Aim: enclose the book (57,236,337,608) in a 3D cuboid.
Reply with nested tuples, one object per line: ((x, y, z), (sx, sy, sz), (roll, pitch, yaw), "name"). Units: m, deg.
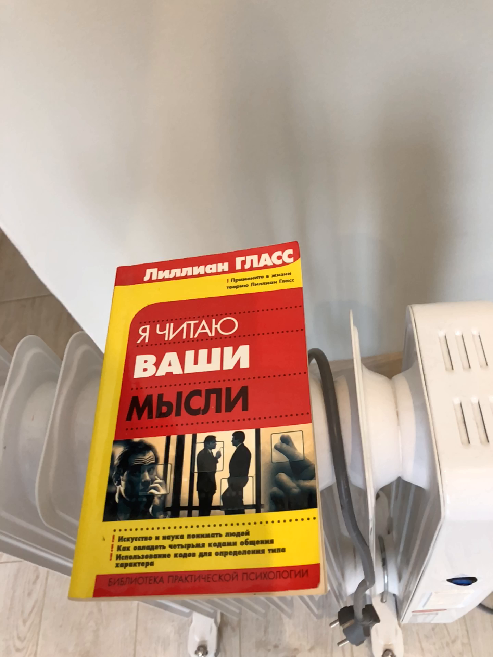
((-0.024, 0.040, 0.309), (0.128, 0.020, 0.207), (-7, 55, 10), "book")
